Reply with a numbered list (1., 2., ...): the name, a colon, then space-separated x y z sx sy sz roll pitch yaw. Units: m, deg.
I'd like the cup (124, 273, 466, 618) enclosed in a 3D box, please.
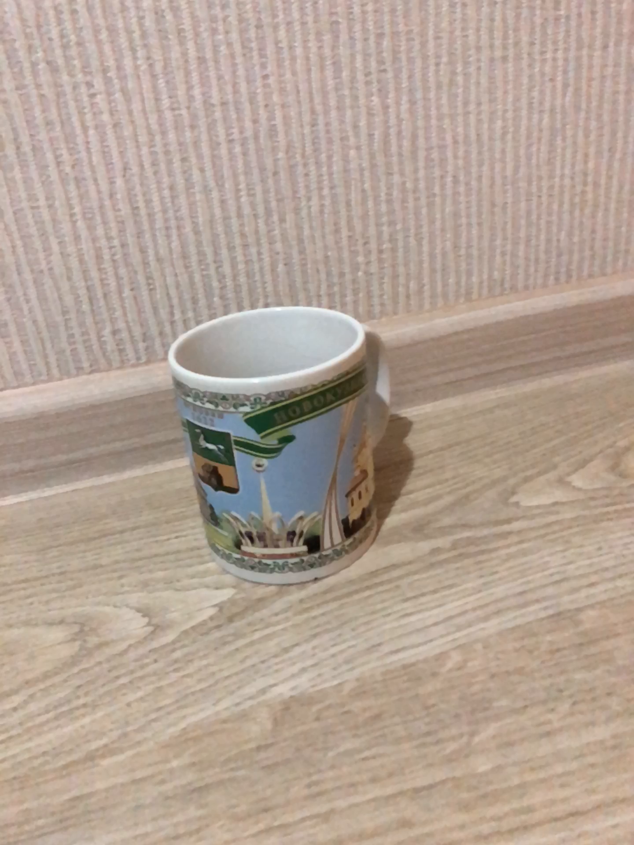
1. cup: -0.002 0.000 0.316 0.082 0.096 0.121 19 36 41
